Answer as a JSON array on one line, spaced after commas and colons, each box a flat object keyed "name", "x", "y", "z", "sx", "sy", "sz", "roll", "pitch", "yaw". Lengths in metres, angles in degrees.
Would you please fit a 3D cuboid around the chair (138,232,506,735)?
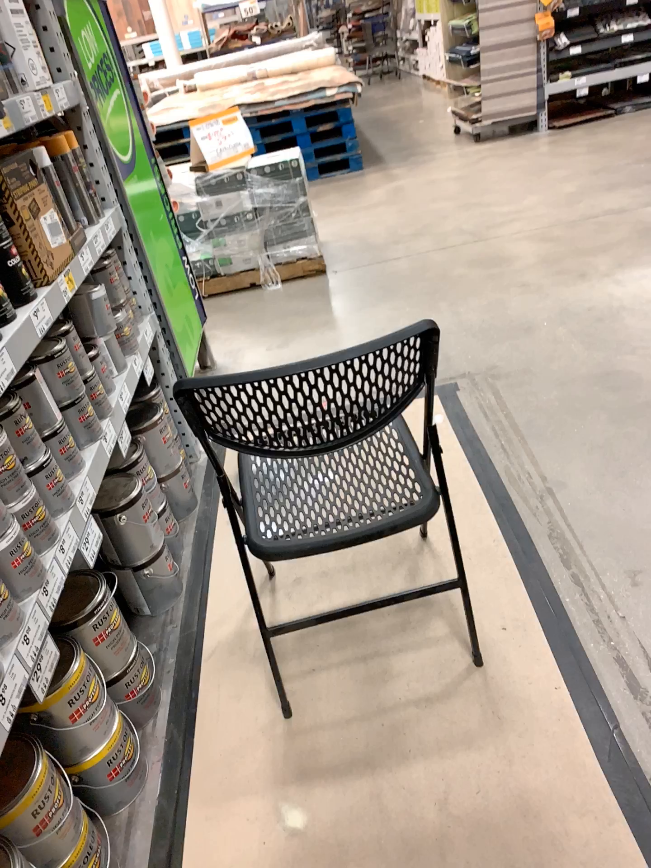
[{"name": "chair", "x": 0.015, "y": 0.099, "z": 1.410, "sx": 0.518, "sy": 0.814, "sz": 0.518, "roll": -14, "pitch": 32, "yaw": -2}]
